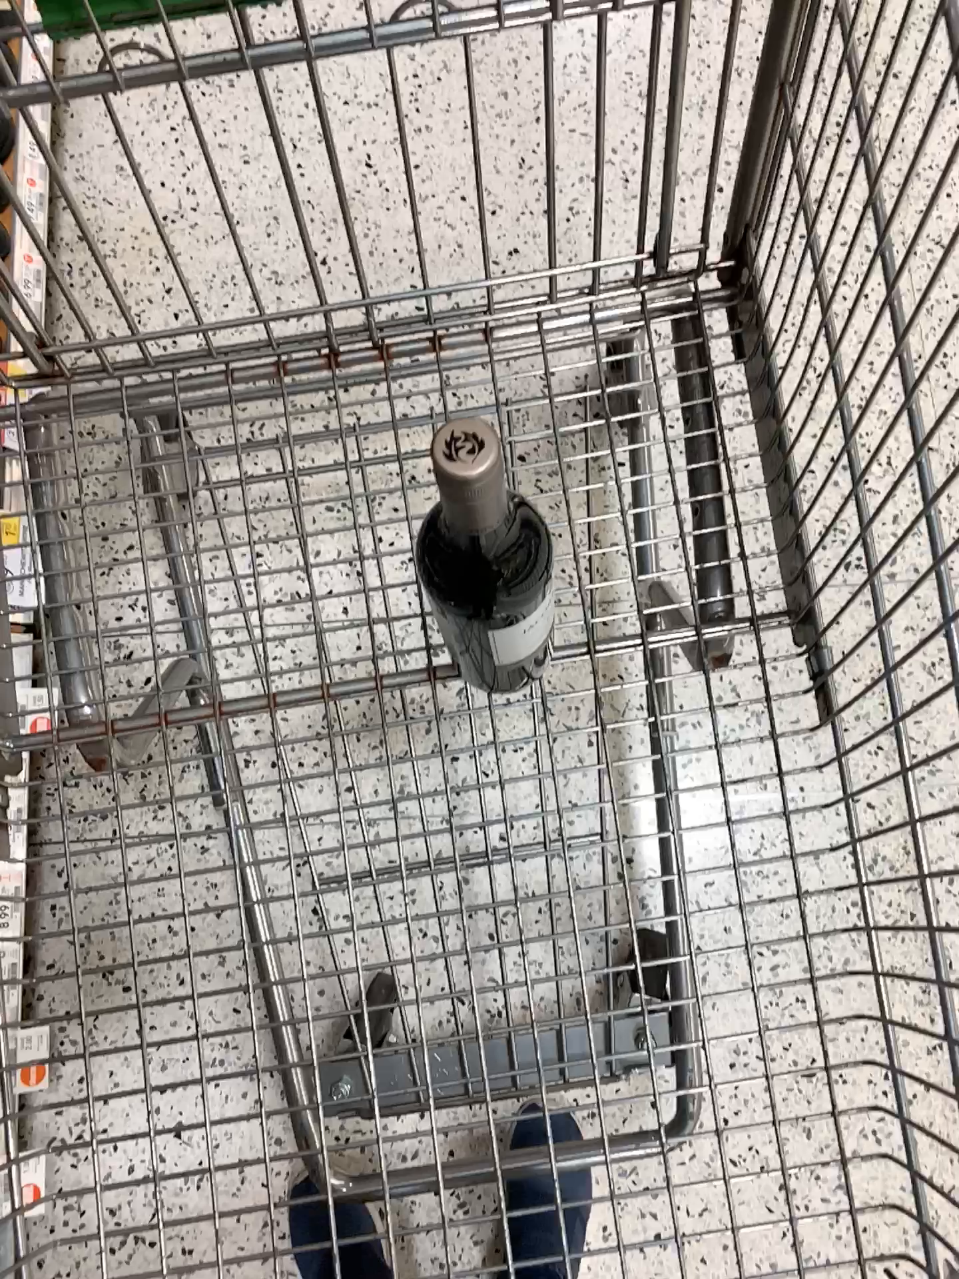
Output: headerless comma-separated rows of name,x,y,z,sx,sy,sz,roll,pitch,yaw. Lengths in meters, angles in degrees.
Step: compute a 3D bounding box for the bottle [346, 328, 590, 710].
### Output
bottle,0.001,-0.042,0.557,0.090,0.319,0.090,0,74,2
